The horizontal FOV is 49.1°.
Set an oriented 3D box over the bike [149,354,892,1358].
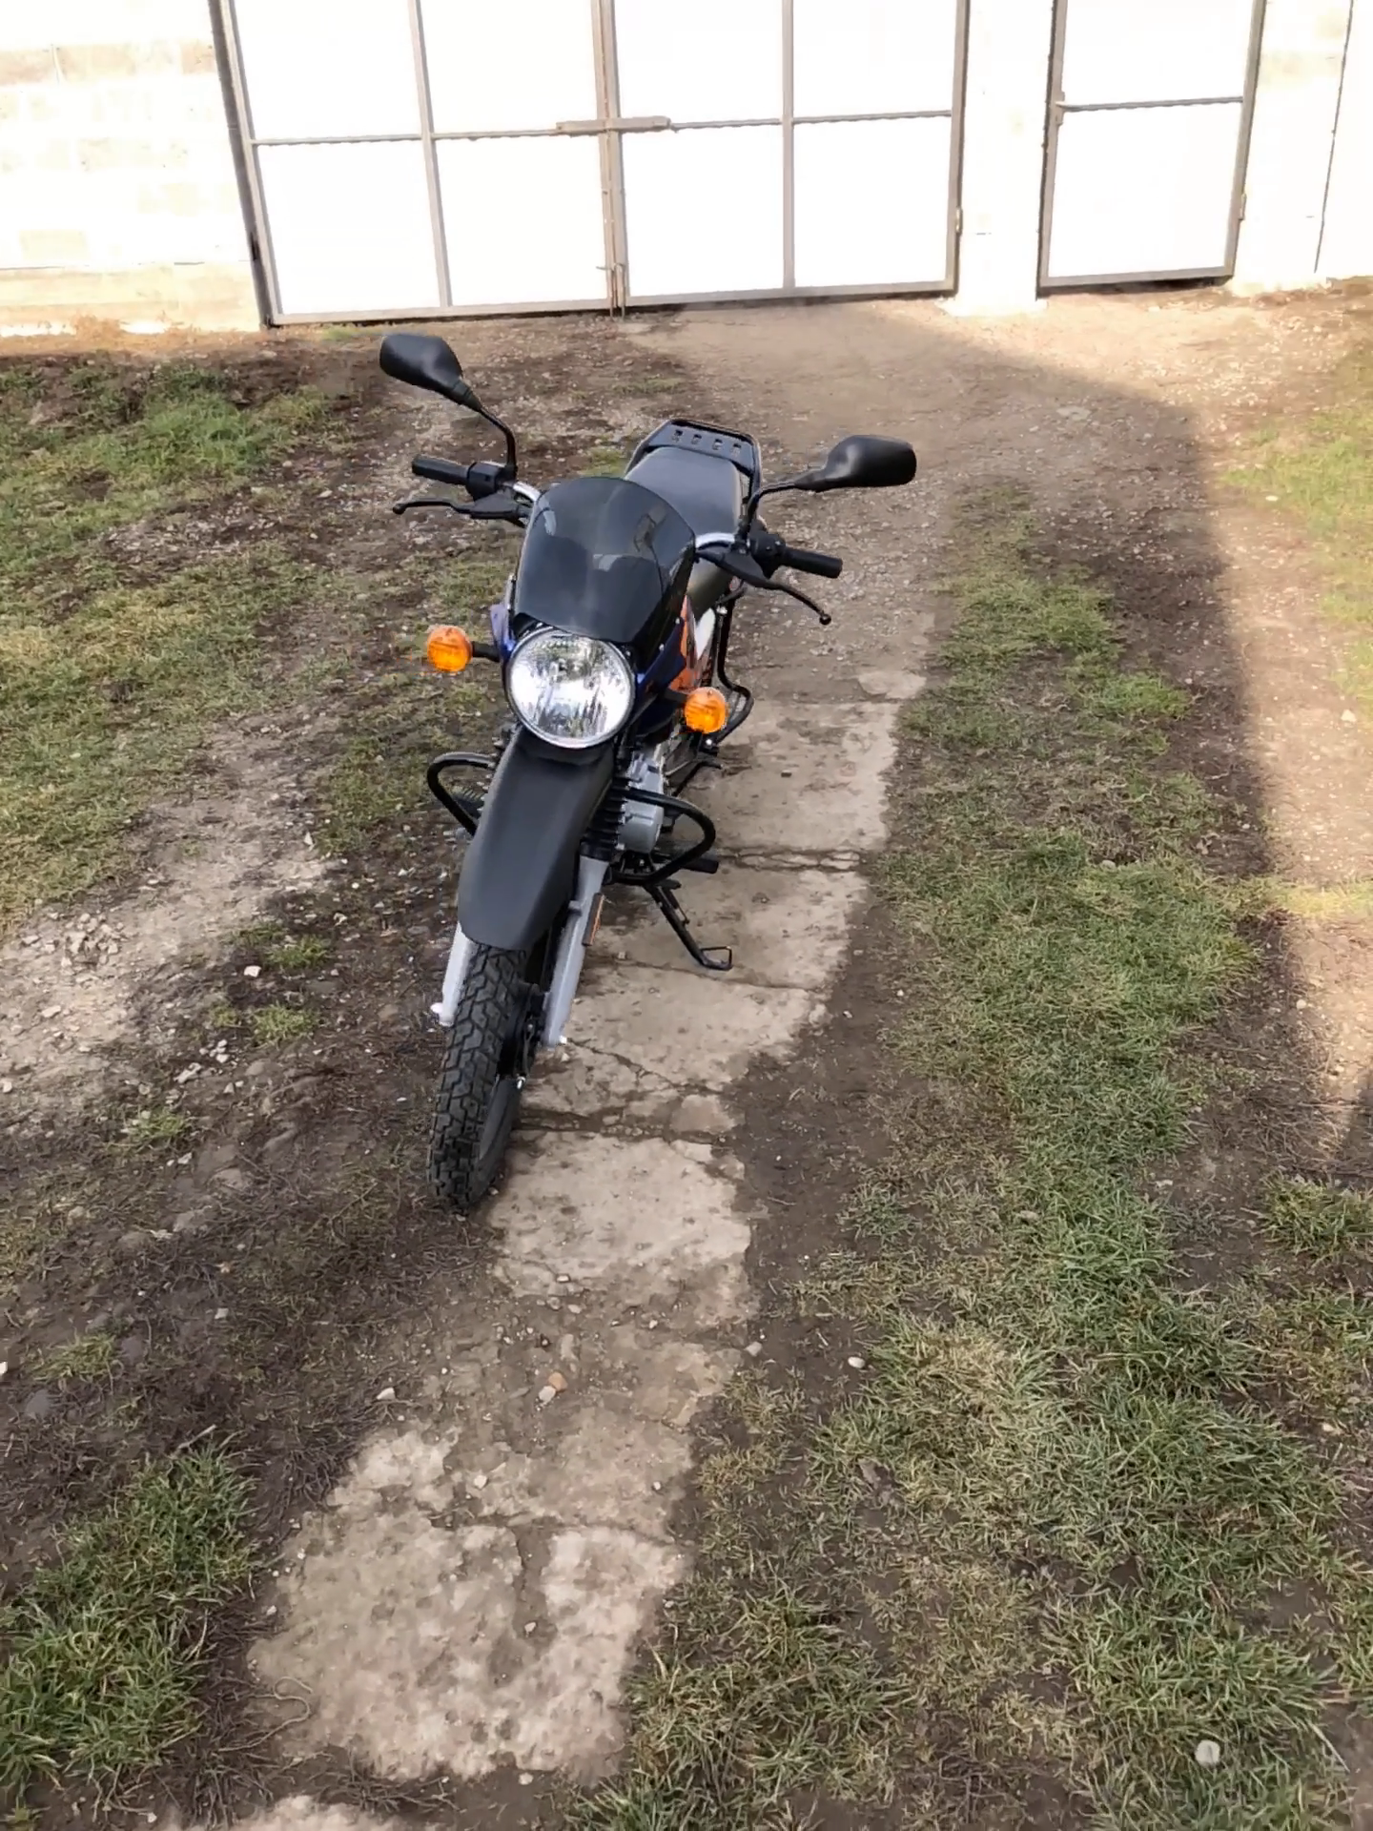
[{"bbox_3d":[-0.093,-0.293,2.769,0.806,1.050,1.791,3,31,9],"label":"bike"}]
